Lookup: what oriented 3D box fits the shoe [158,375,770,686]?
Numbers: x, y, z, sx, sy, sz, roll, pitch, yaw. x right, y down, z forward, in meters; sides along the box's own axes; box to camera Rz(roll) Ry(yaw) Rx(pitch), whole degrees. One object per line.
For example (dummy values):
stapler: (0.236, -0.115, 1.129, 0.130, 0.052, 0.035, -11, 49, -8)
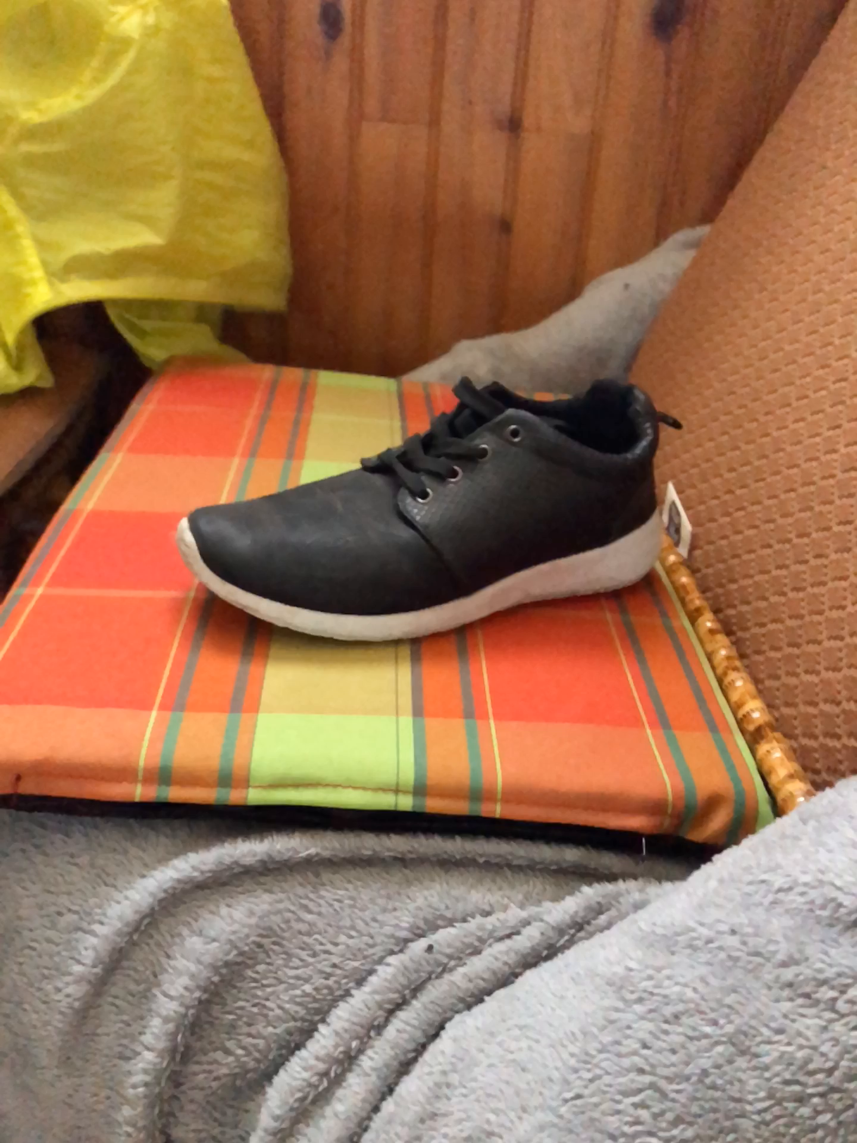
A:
shoe: (0.017, -0.033, 0.464, 0.267, 0.080, 0.110, -9, 31, -22)
